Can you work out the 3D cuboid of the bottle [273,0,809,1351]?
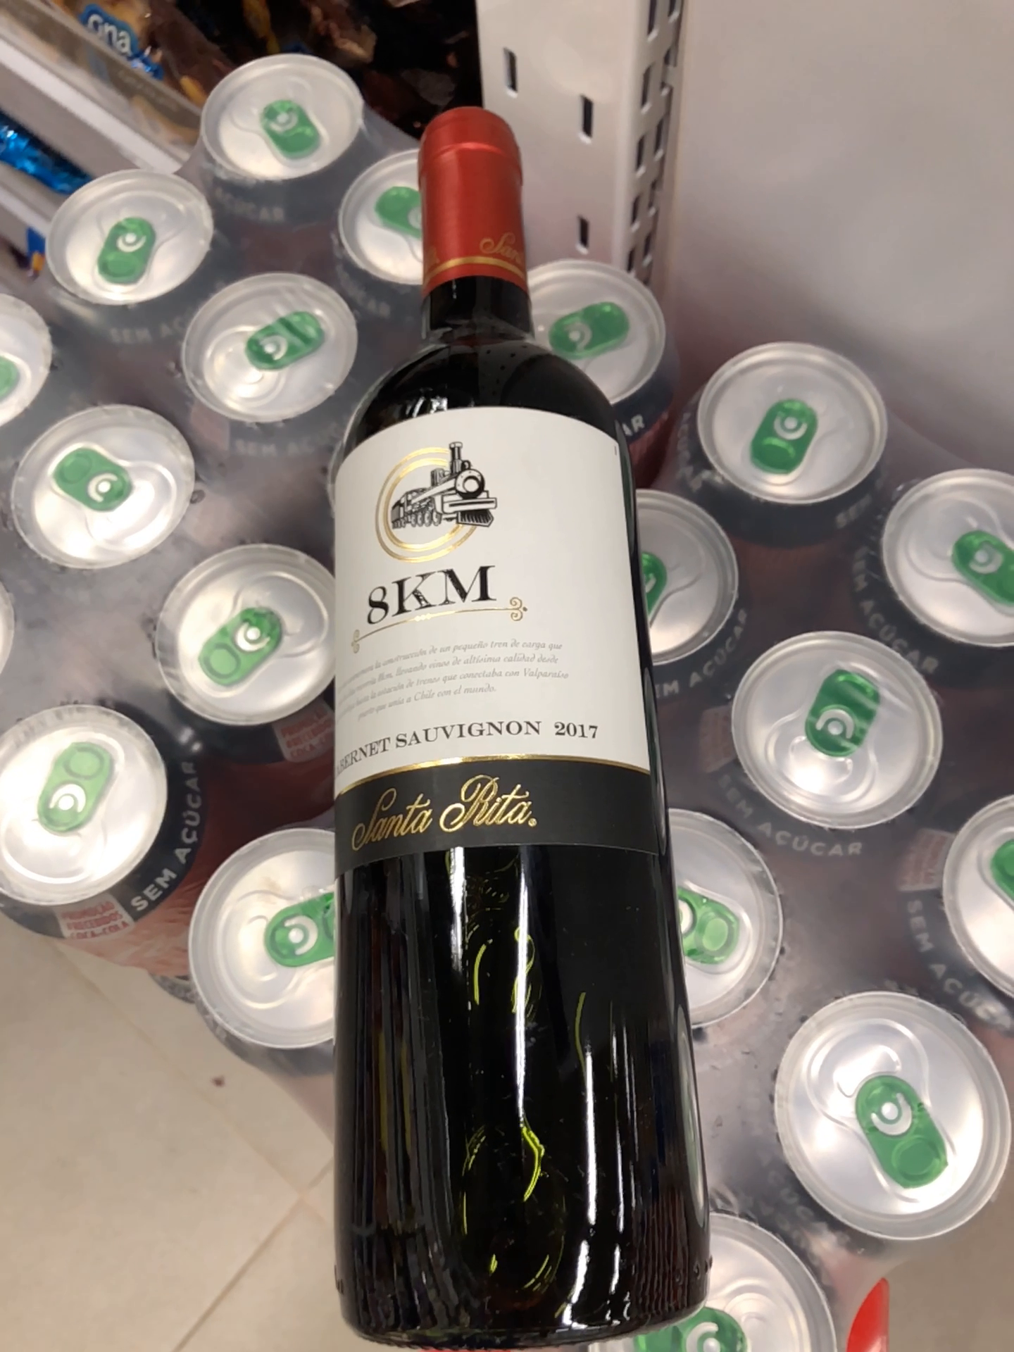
[{"bbox_3d":[-0.005,-0.030,0.262,0.080,0.070,0.321,-5,69,1],"label":"bottle"}]
